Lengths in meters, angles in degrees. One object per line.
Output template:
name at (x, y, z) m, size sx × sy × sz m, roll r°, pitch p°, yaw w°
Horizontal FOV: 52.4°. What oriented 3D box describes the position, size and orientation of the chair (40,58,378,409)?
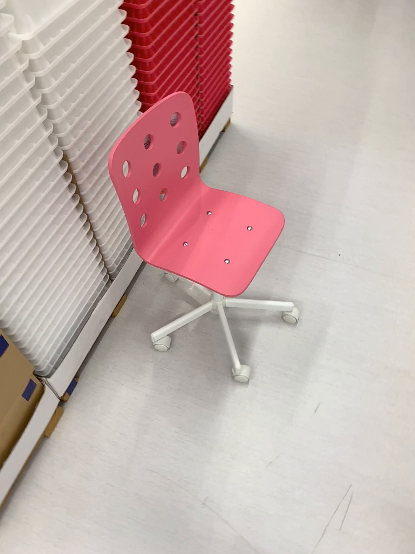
chair at (0.033, -0.100, 1.245) m, size 0.581 × 0.708 × 0.551 m, roll 22°, pitch 58°, yaw 16°
